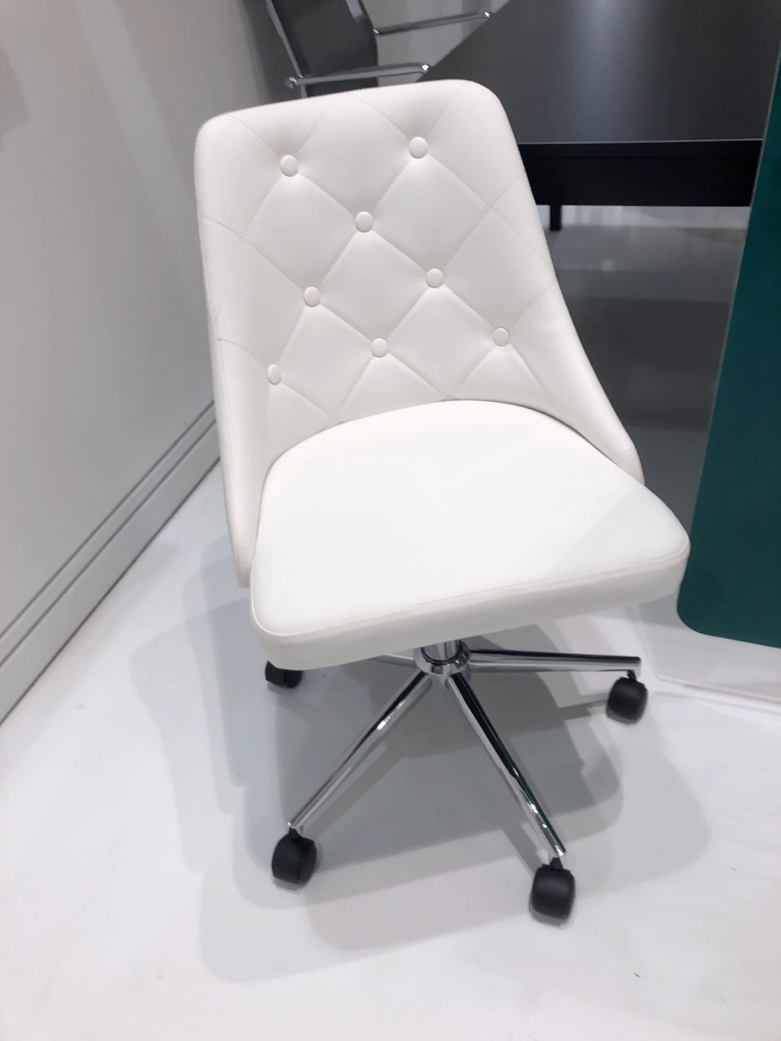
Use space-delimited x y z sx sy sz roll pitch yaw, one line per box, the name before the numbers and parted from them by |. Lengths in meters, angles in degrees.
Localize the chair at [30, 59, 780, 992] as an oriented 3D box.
chair | 0.057 -0.007 1.064 0.600 0.854 0.645 -10 37 -5
